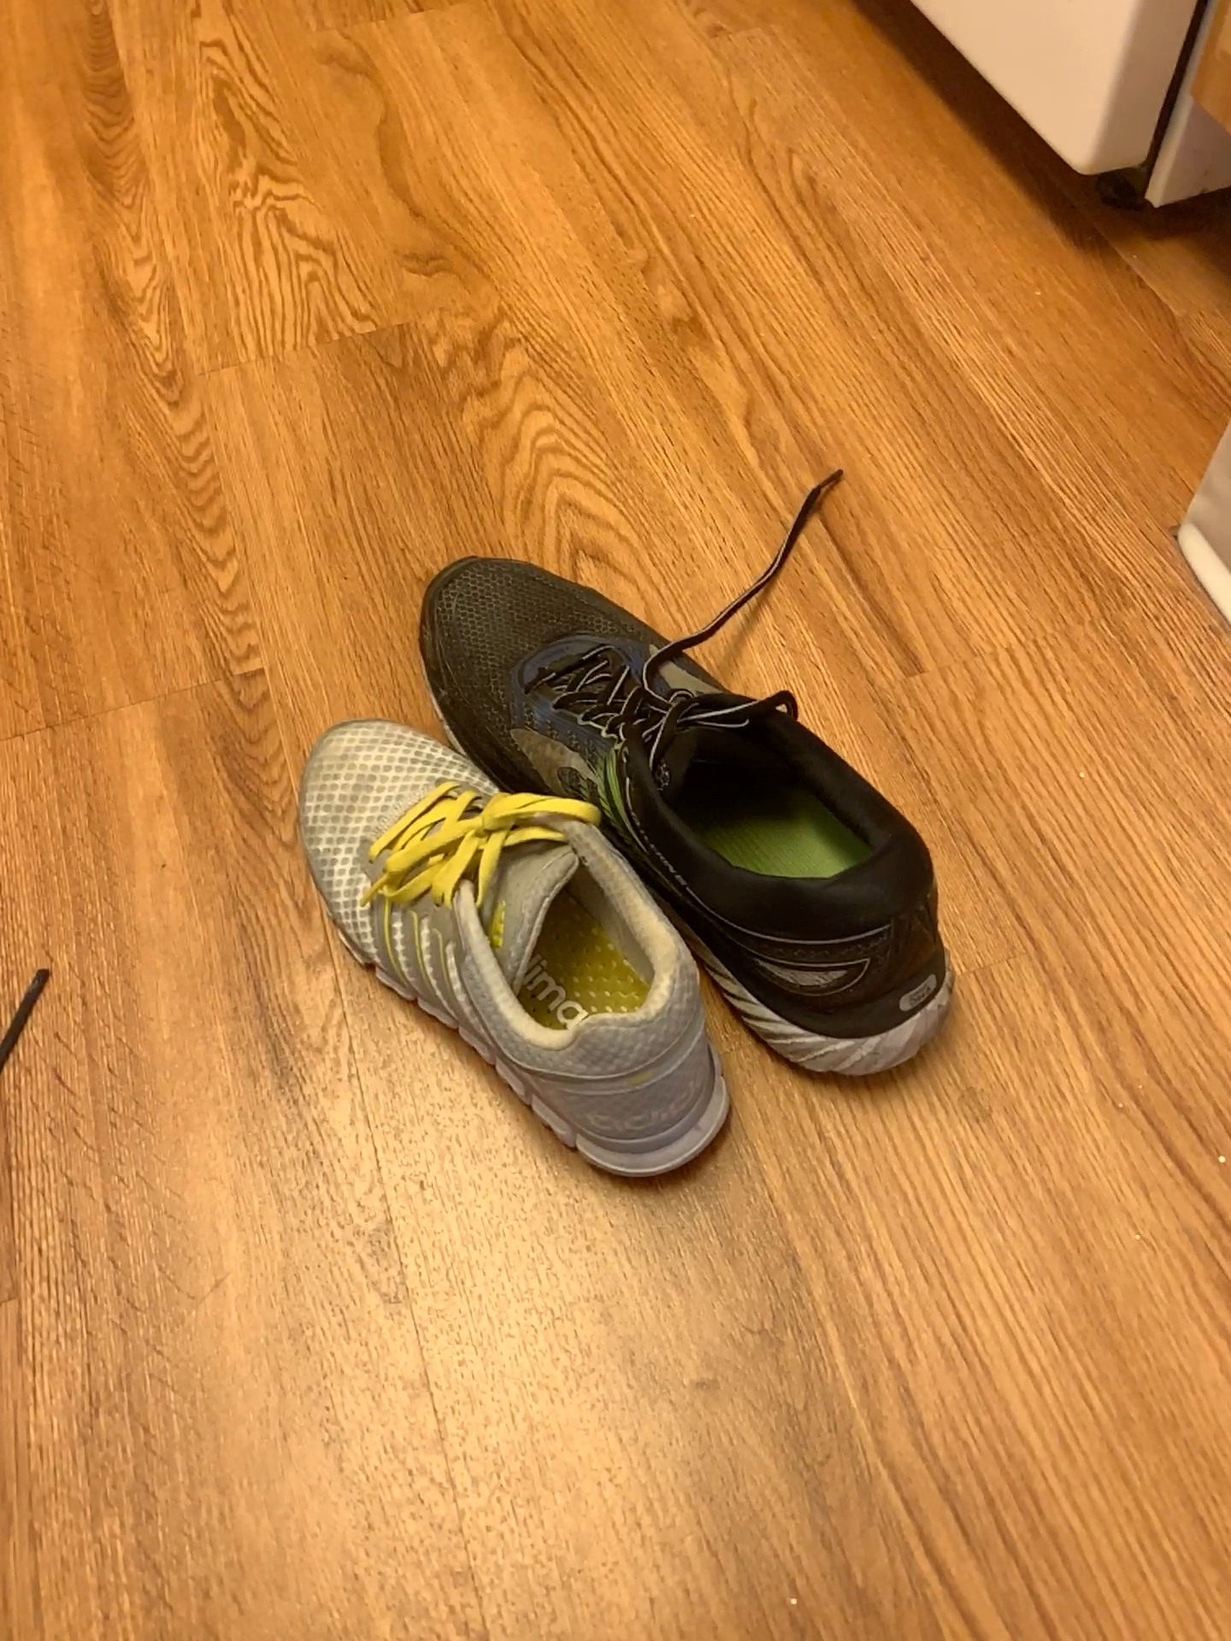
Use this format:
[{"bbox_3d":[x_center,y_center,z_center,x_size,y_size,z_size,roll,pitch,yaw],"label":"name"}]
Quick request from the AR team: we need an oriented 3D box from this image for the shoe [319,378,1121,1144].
[{"bbox_3d":[0.025,-0.033,0.490,0.110,0.110,0.291,-38,63,-19],"label":"shoe"}]

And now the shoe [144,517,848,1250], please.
[{"bbox_3d":[-0.048,0.017,0.467,0.100,0.110,0.251,-38,63,-19],"label":"shoe"}]
